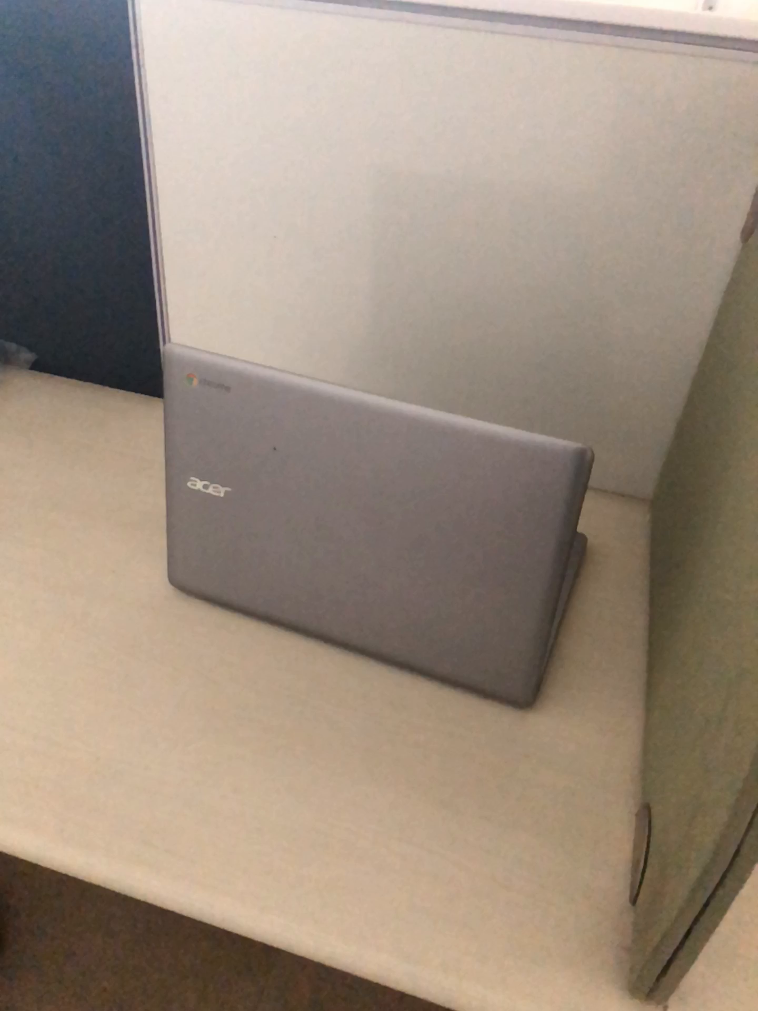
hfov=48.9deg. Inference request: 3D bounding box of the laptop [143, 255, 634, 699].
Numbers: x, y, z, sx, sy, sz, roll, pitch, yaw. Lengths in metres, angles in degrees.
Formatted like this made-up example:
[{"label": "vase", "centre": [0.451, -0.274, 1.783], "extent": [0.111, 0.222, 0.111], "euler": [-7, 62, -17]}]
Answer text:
[{"label": "laptop", "centre": [0.016, -0.039, 0.717], "extent": [0.321, 0.218, 0.222], "euler": [17, 38, 14]}]
